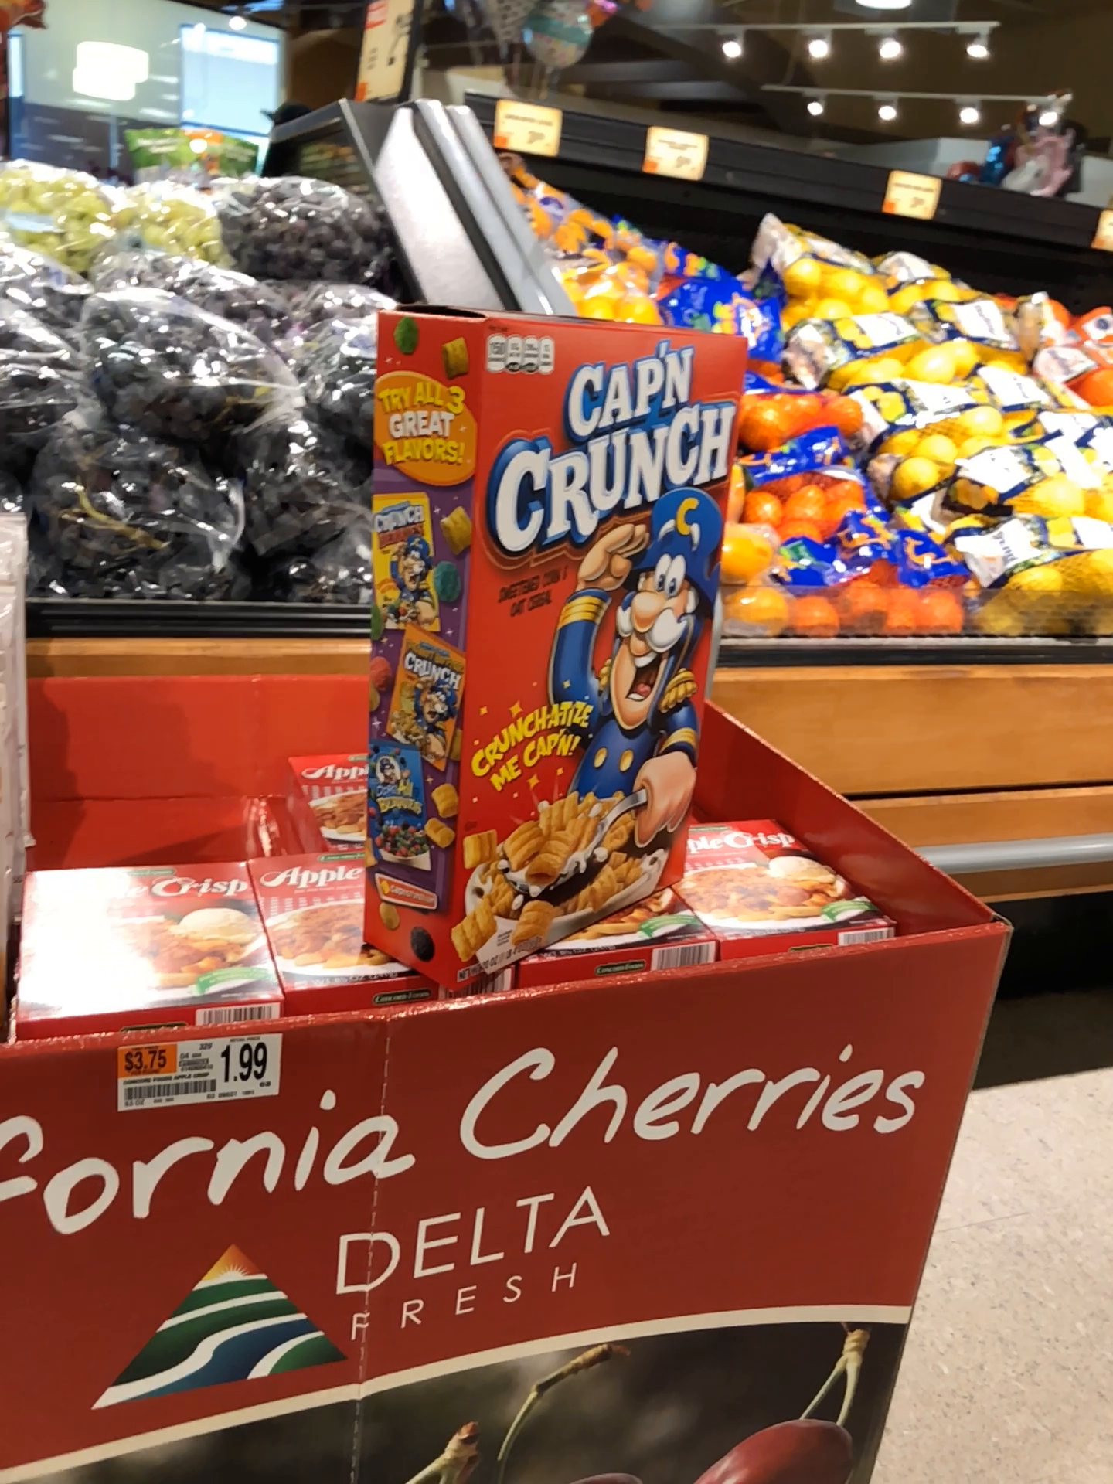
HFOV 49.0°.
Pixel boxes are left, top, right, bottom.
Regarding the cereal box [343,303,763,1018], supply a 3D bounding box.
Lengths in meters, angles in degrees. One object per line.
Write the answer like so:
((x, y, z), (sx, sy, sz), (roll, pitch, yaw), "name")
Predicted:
((-0.001, -0.051, 0.651), (0.070, 0.328, 0.221), (20, 24, 37), "cereal box")
